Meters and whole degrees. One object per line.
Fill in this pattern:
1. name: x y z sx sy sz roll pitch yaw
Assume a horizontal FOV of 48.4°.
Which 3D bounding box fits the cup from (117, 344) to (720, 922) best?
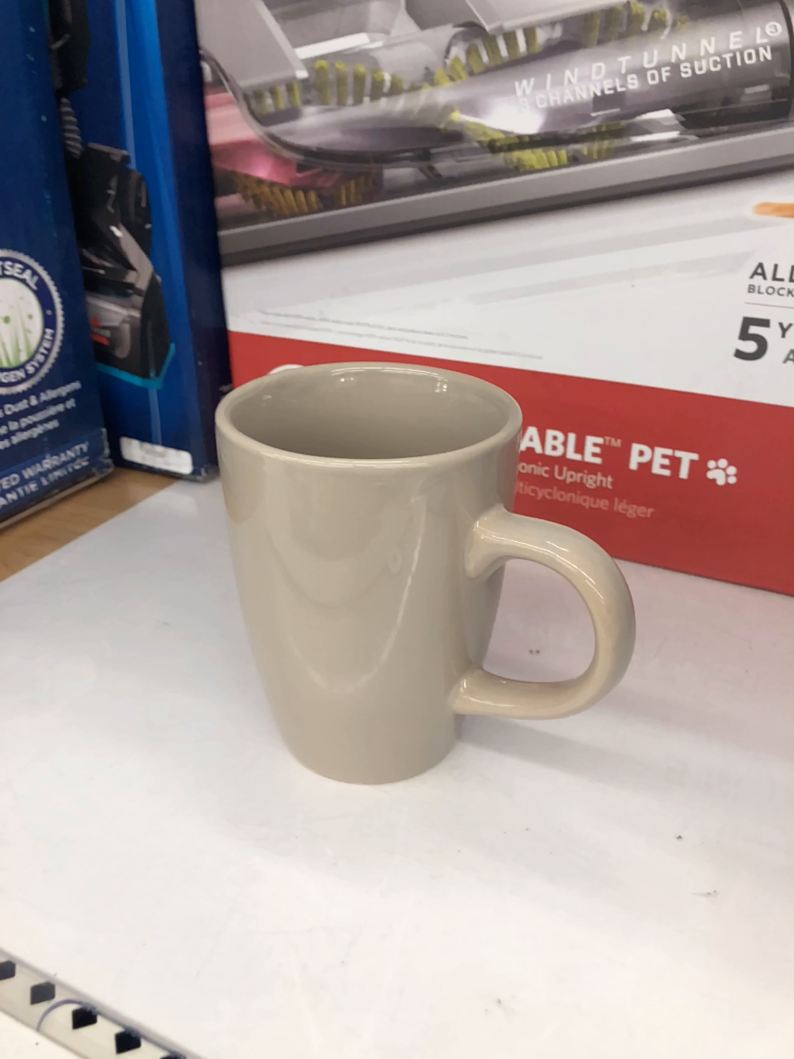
1. cup: 0.005 0.014 0.244 0.126 0.092 0.088 19 32 32
